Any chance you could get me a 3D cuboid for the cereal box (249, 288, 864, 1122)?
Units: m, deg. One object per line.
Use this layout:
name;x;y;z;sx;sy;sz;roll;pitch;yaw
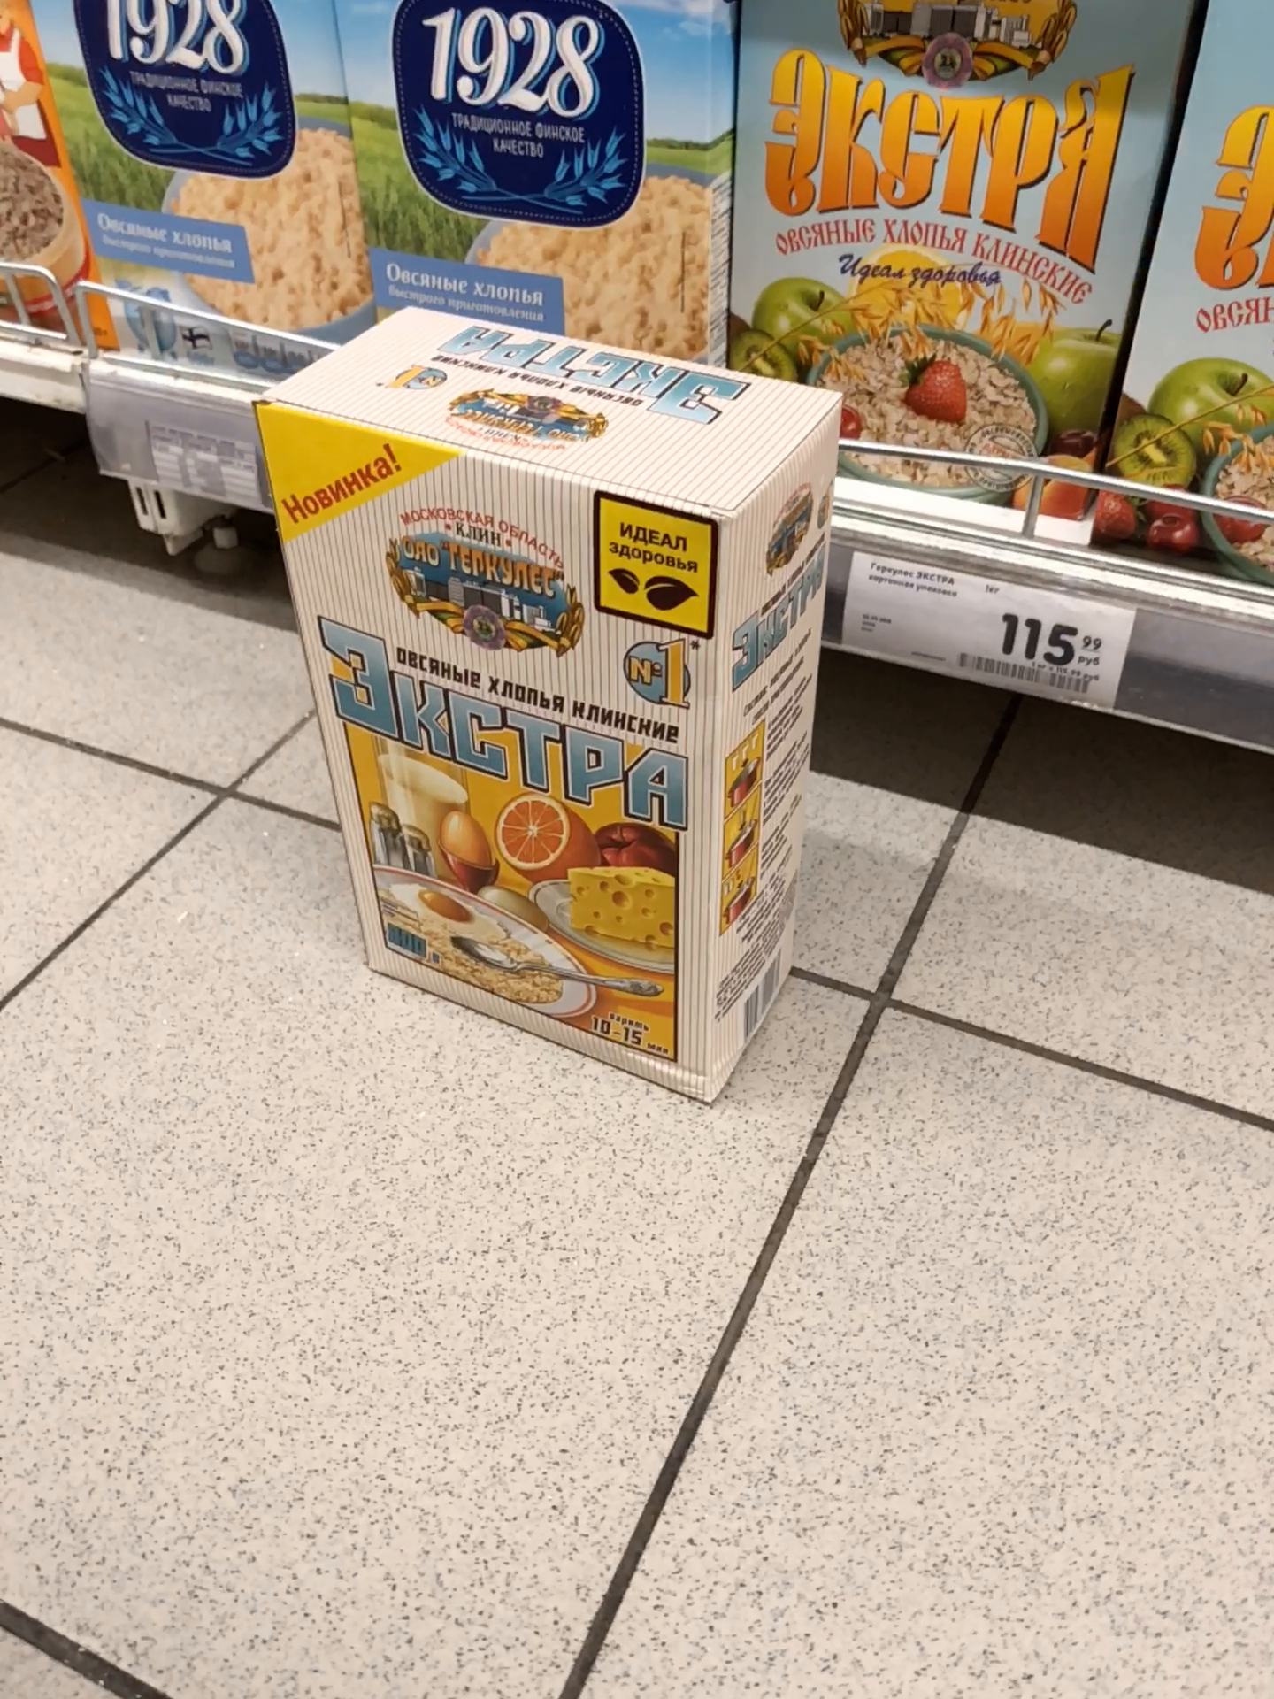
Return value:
cereal box;-0.021;-0.041;0.468;0.150;0.239;0.080;19;45;21
